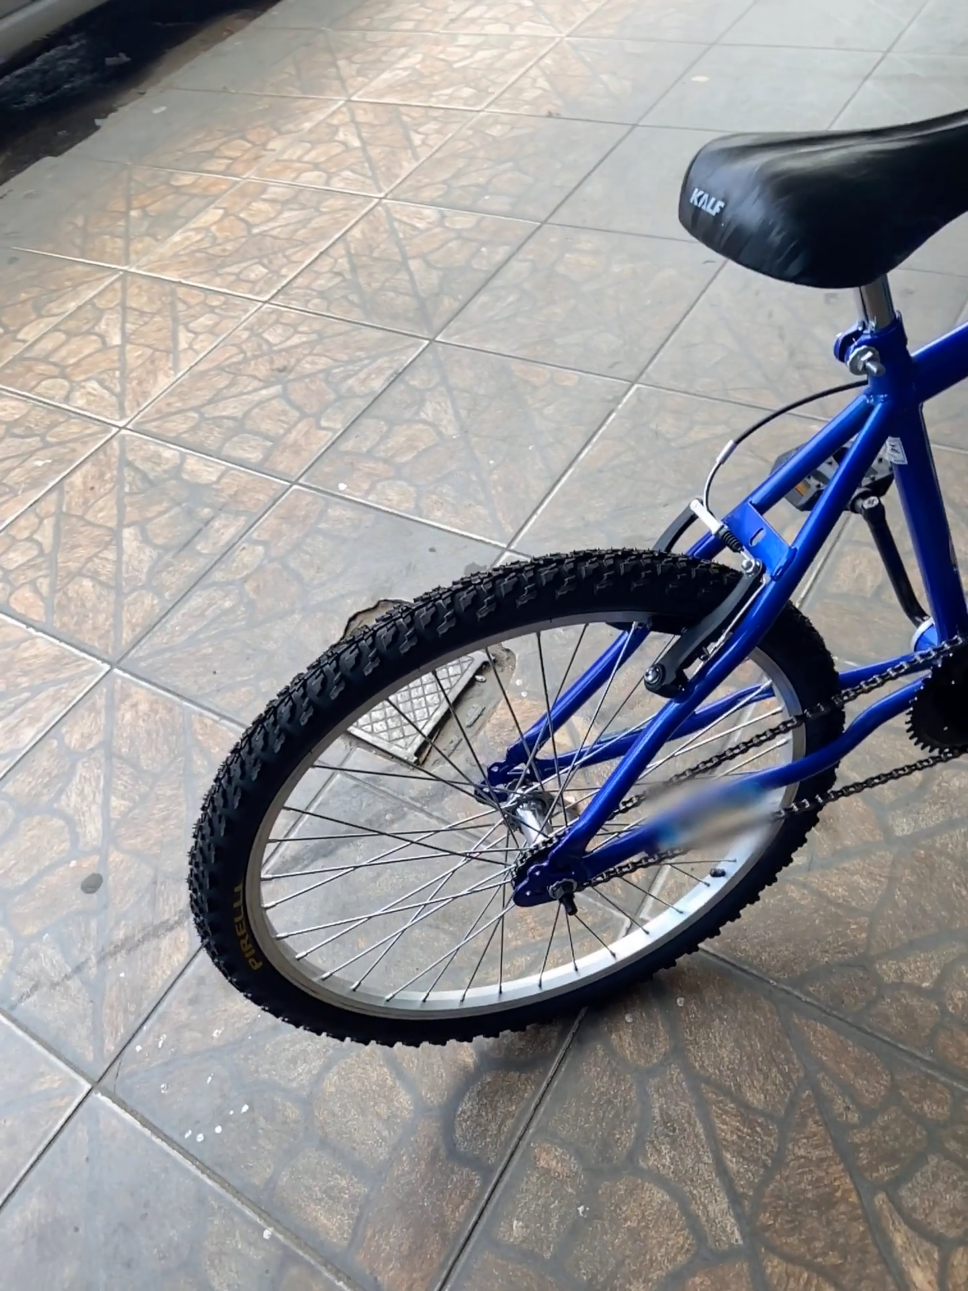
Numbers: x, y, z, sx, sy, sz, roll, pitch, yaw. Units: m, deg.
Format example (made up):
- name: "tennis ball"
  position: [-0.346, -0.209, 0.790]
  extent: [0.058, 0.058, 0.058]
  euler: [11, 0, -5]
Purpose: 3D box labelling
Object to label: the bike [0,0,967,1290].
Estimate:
- name: "bike"
  position: [0.433, -0.106, 0.722]
  extent: [1.486, 0.924, 0.625]
  euler: [-19, 51, 0]
